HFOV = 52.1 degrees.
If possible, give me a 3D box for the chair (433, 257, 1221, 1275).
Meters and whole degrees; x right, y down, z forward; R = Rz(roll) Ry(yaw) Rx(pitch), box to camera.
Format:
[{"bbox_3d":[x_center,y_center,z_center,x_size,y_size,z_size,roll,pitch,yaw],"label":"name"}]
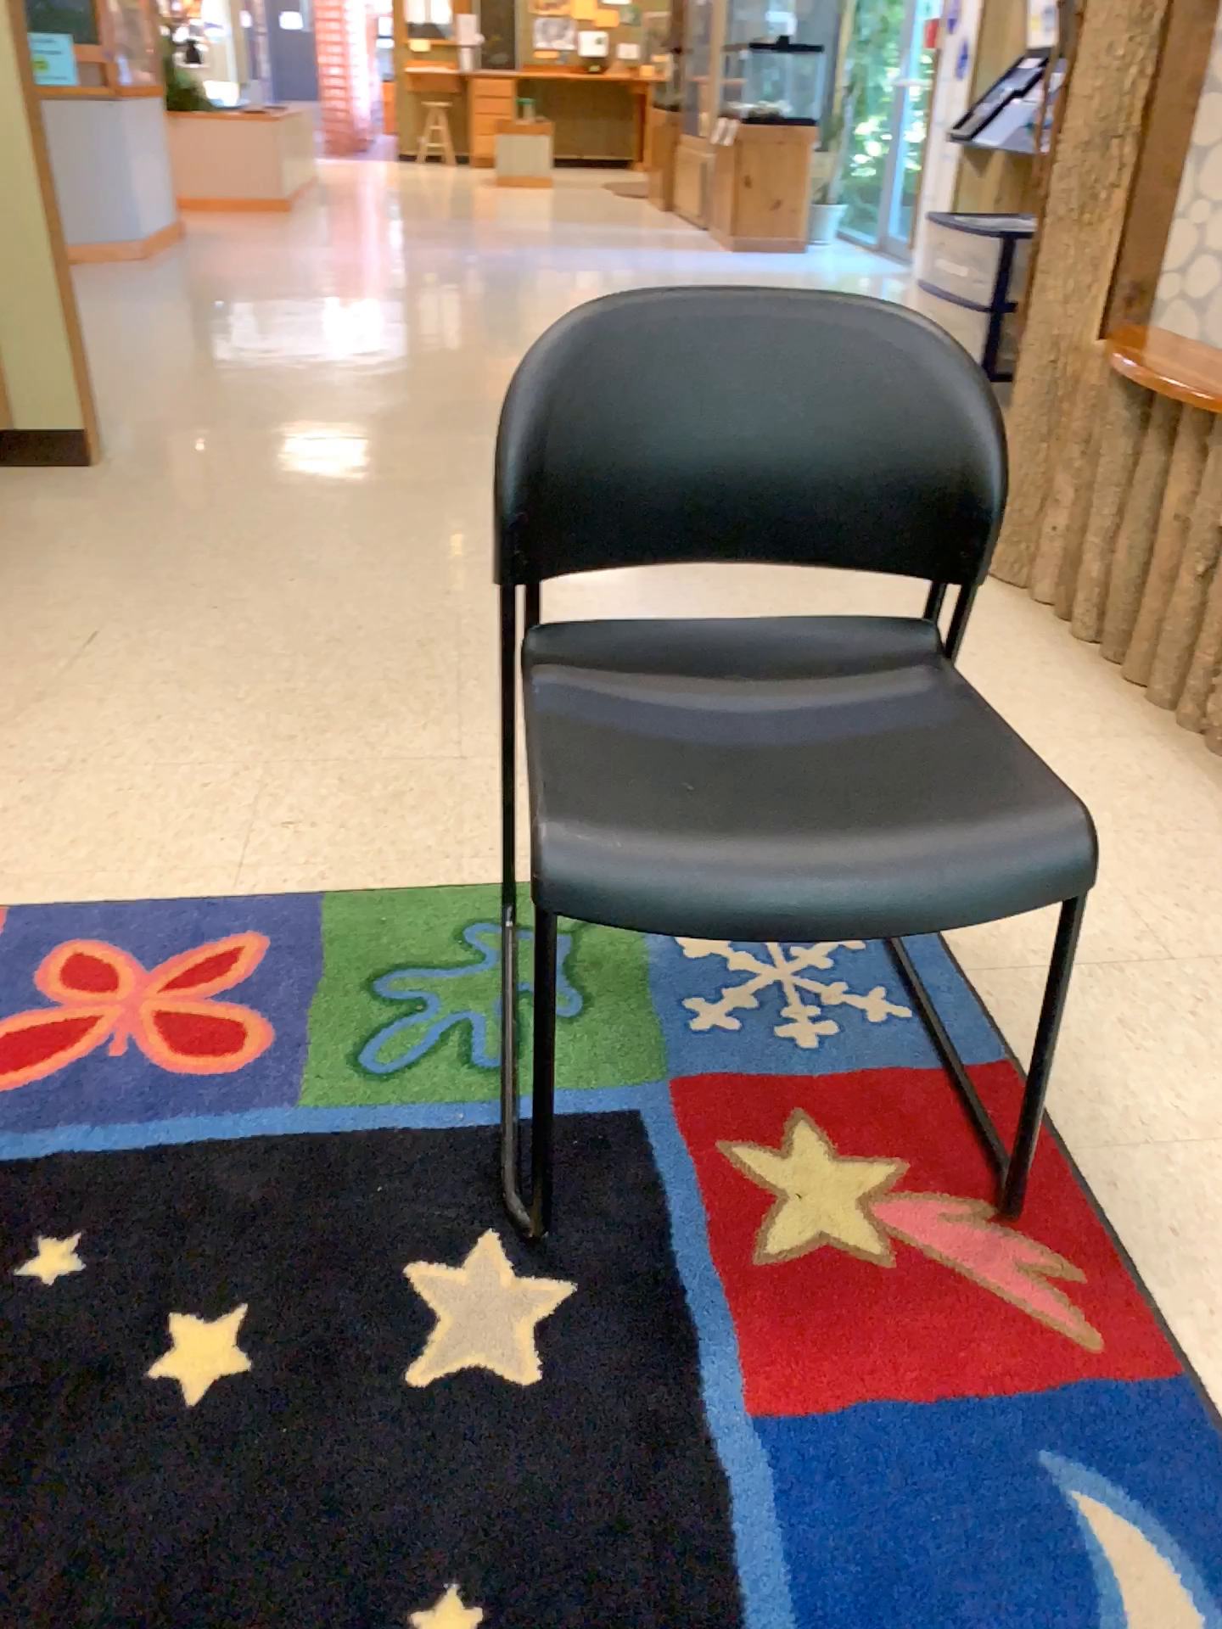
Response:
[{"bbox_3d":[0.133,-0.070,1.197,0.570,0.785,0.533,-2,30,-7],"label":"chair"}]
